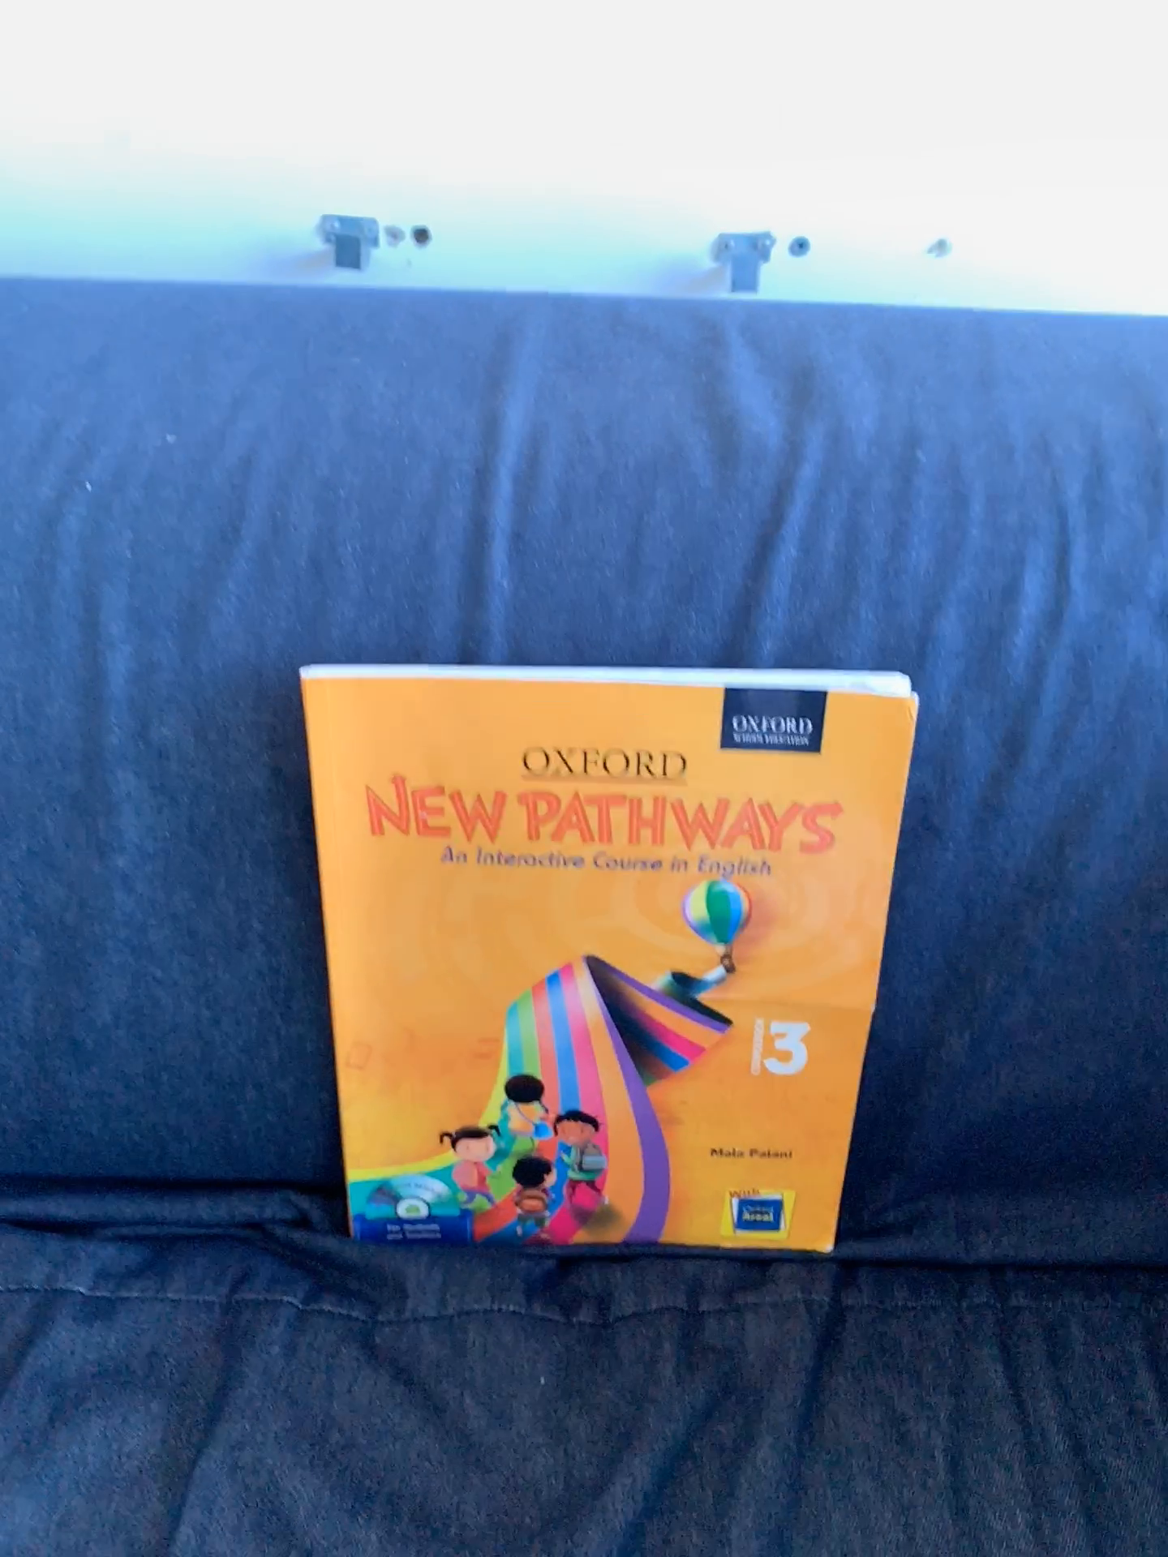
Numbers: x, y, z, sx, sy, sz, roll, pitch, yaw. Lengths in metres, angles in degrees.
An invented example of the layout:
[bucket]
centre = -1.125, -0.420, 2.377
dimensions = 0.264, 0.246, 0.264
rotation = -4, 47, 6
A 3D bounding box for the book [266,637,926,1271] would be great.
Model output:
[book]
centre = 0.000, 0.085, 0.494
dimensions = 0.230, 0.283, 0.030
rotation = 2, 26, -1
